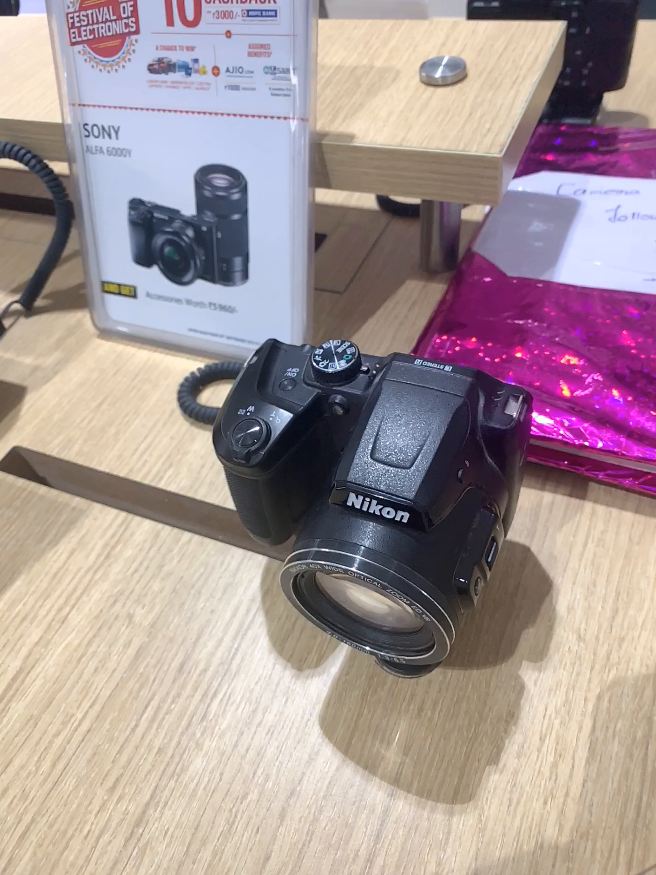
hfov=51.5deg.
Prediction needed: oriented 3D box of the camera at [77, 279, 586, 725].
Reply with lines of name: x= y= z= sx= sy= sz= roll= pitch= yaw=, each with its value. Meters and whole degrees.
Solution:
camera: x=0.007 y=0.018 z=0.239 sx=0.130 sy=0.090 sz=0.090 roll=14 pitch=52 yaw=20
